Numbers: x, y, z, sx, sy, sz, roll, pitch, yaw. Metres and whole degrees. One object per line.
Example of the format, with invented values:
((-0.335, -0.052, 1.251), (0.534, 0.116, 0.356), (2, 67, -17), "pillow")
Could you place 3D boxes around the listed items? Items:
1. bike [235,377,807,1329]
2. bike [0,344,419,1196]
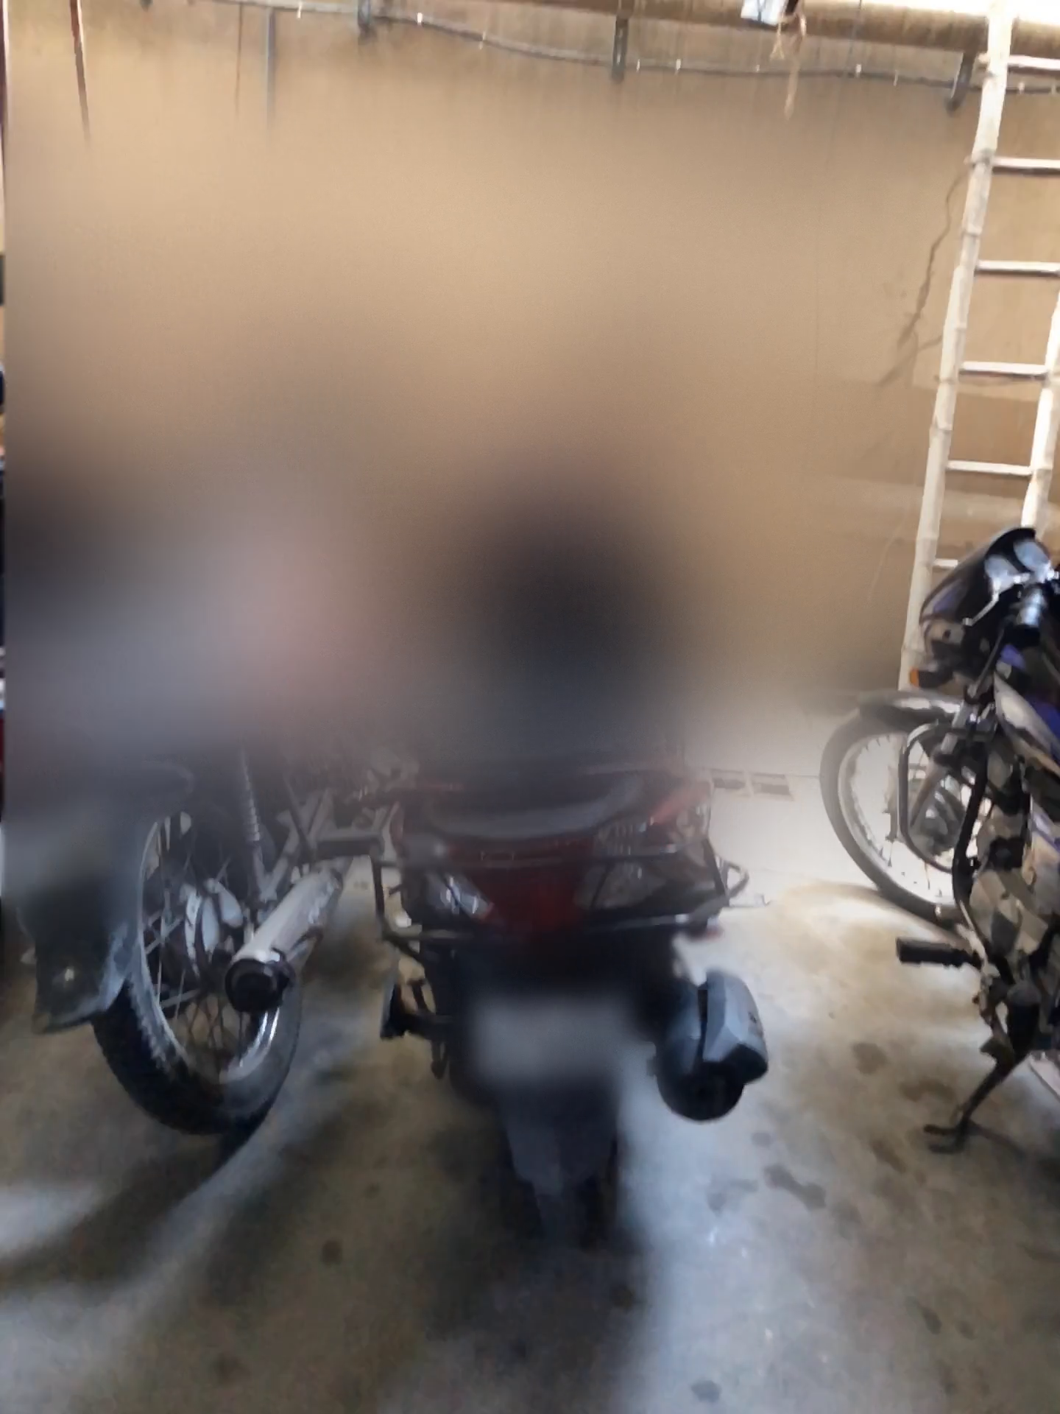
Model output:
((-0.045, 0.073, 2.179), (0.630, 1.141, 1.444), (6, 20, -1), "bike")
((-0.763, -0.100, 2.330), (0.838, 1.091, 1.655), (6, 18, -1), "bike")
